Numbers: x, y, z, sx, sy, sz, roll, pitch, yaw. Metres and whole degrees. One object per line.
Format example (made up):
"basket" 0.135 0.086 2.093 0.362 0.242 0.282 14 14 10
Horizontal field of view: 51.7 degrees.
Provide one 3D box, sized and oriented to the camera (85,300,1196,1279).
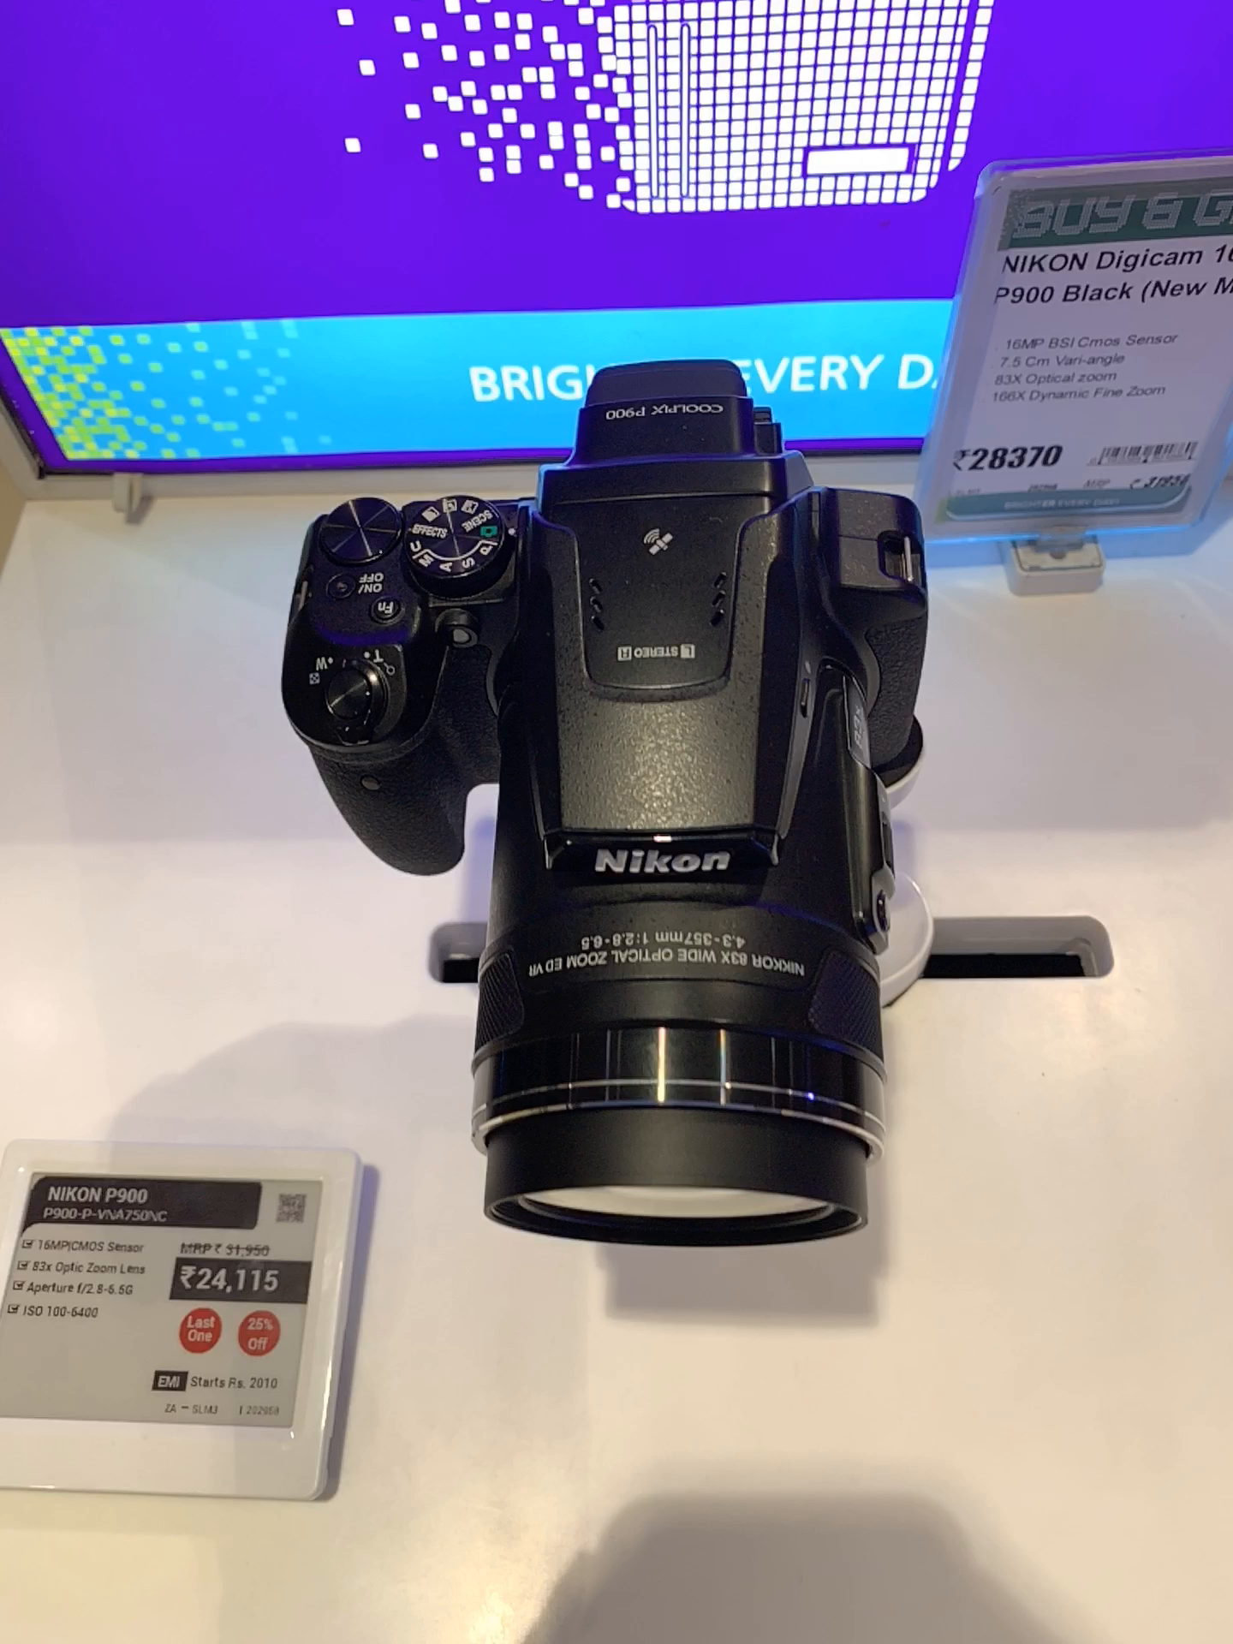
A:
"camera" 0.004 -0.007 0.241 0.140 0.090 0.160 -1 59 2
